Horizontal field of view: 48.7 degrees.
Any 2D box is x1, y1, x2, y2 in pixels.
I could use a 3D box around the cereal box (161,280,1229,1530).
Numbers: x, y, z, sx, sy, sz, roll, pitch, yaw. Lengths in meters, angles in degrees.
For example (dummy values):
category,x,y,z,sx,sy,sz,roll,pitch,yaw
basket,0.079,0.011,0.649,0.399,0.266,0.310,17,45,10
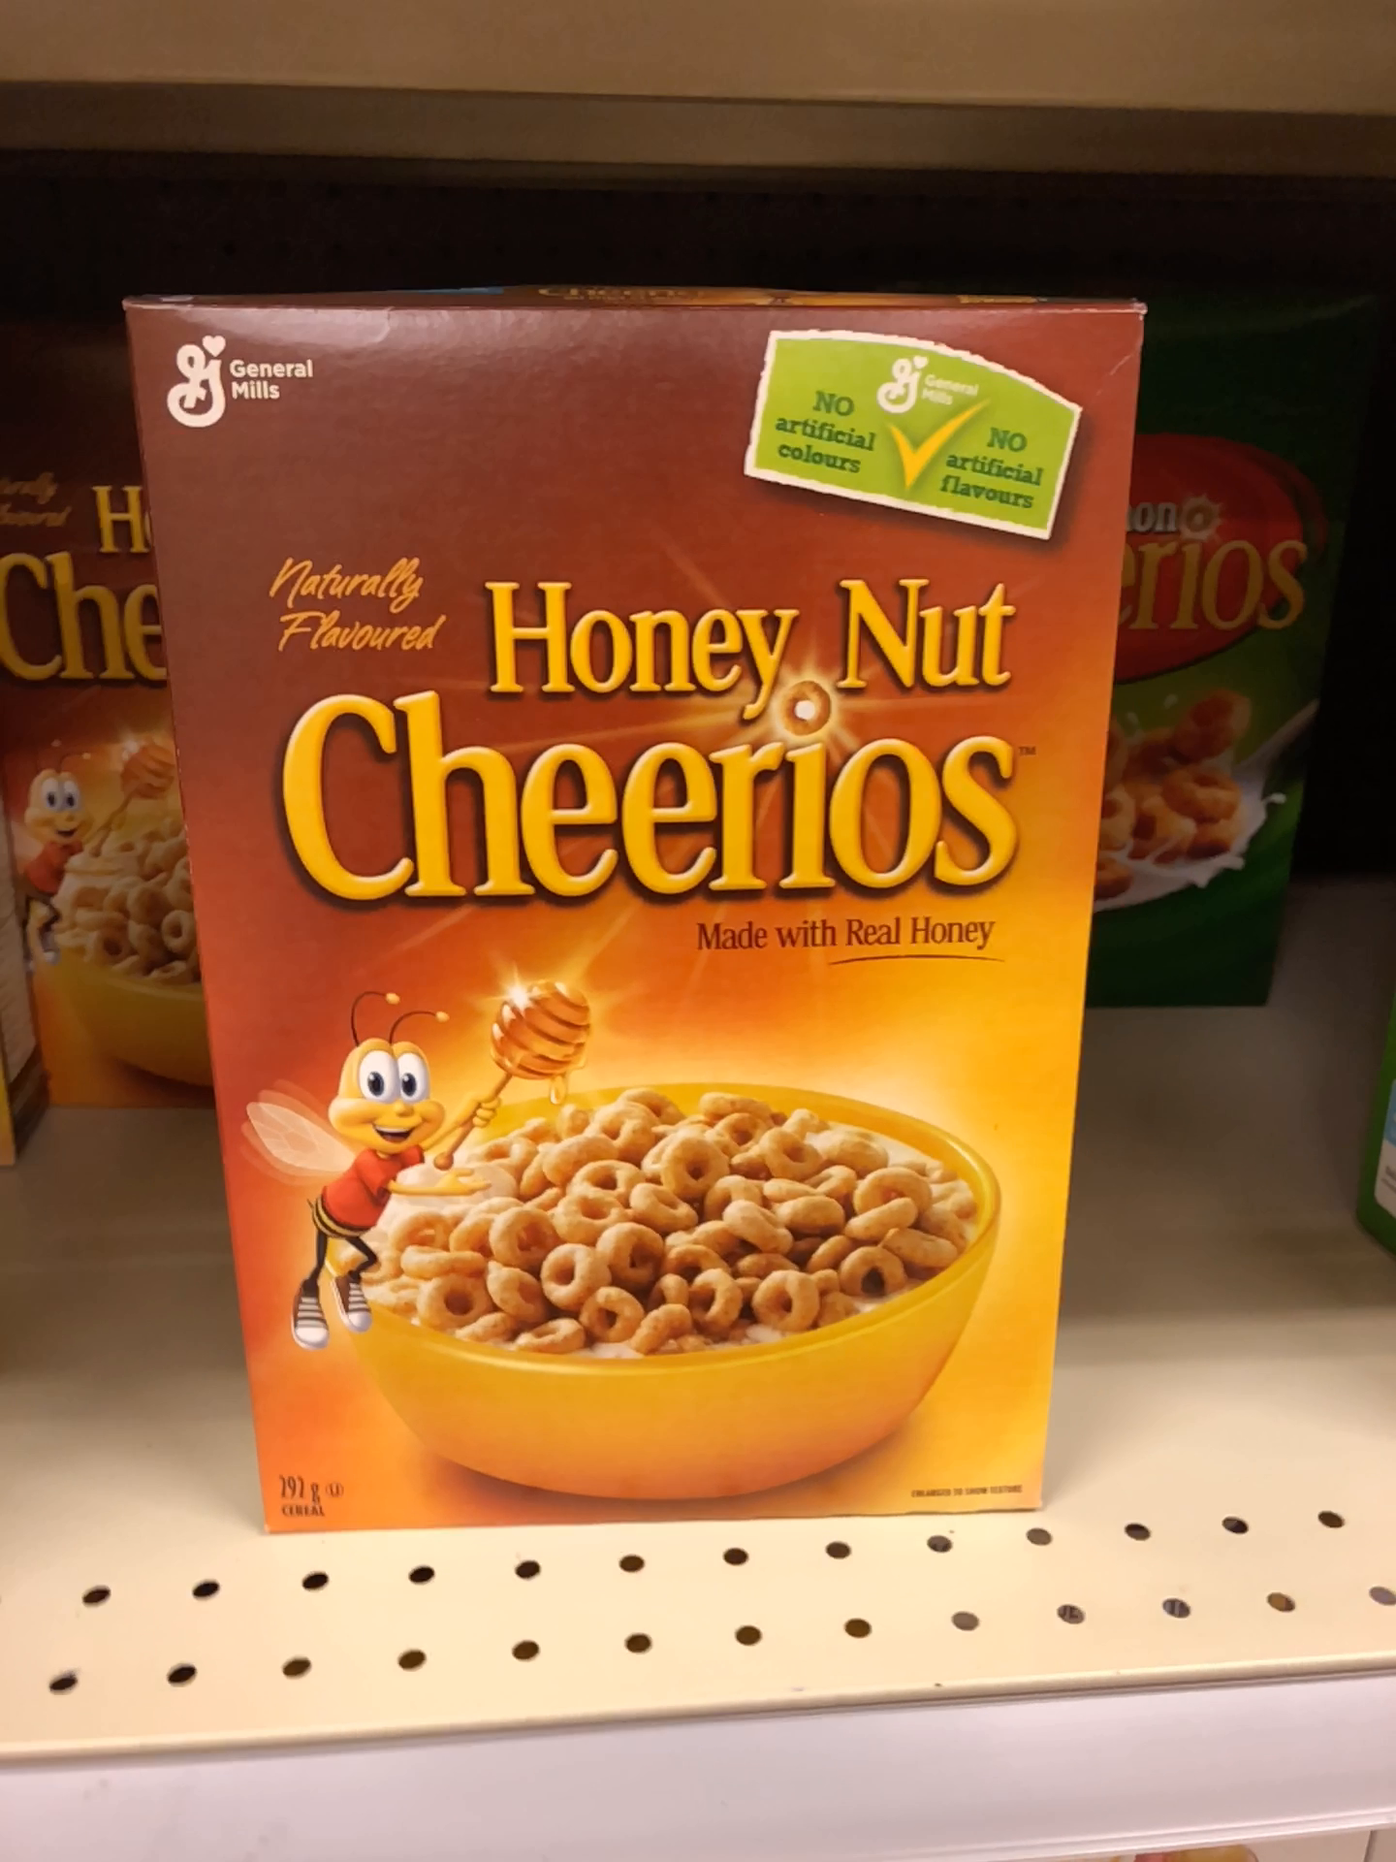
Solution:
category,x,y,z,sx,sy,sz,roll,pitch,yaw
cereal box,-0.001,0.001,0.347,0.190,0.269,0.060,-1,20,-3
